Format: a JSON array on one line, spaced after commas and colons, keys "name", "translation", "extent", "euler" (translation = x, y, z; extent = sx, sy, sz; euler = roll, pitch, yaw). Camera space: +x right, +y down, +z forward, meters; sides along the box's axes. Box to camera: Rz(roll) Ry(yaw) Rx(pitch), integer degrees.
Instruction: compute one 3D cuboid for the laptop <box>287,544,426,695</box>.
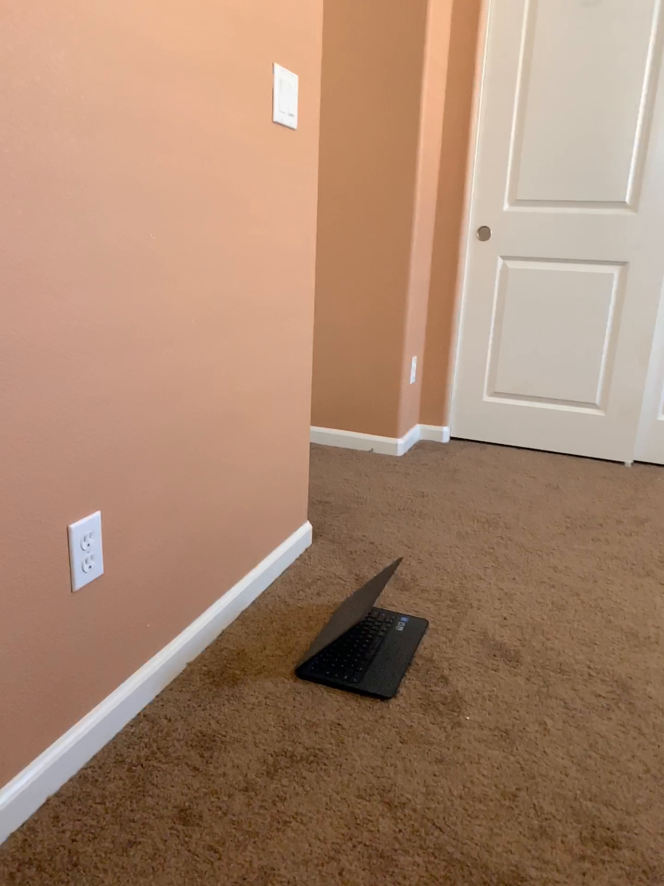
[{"name": "laptop", "translation": [0.060, 0.350, 1.404], "extent": [0.191, 0.140, 0.293], "euler": [10, 17, 19]}]
